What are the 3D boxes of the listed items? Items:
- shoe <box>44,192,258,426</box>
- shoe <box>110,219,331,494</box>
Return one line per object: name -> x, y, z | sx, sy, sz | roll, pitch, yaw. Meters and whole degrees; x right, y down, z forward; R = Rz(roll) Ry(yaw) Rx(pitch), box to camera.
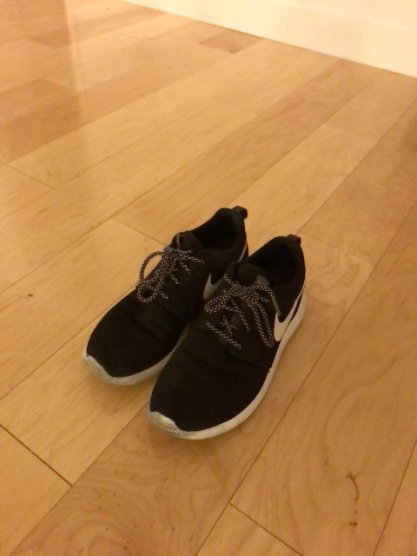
shoe -> -0.051, 0.018, 0.564 | 0.100, 0.099, 0.292 | 23, 47, 19
shoe -> 0.029, 0.065, 0.515 | 0.110, 0.099, 0.292 | 23, 47, 19
